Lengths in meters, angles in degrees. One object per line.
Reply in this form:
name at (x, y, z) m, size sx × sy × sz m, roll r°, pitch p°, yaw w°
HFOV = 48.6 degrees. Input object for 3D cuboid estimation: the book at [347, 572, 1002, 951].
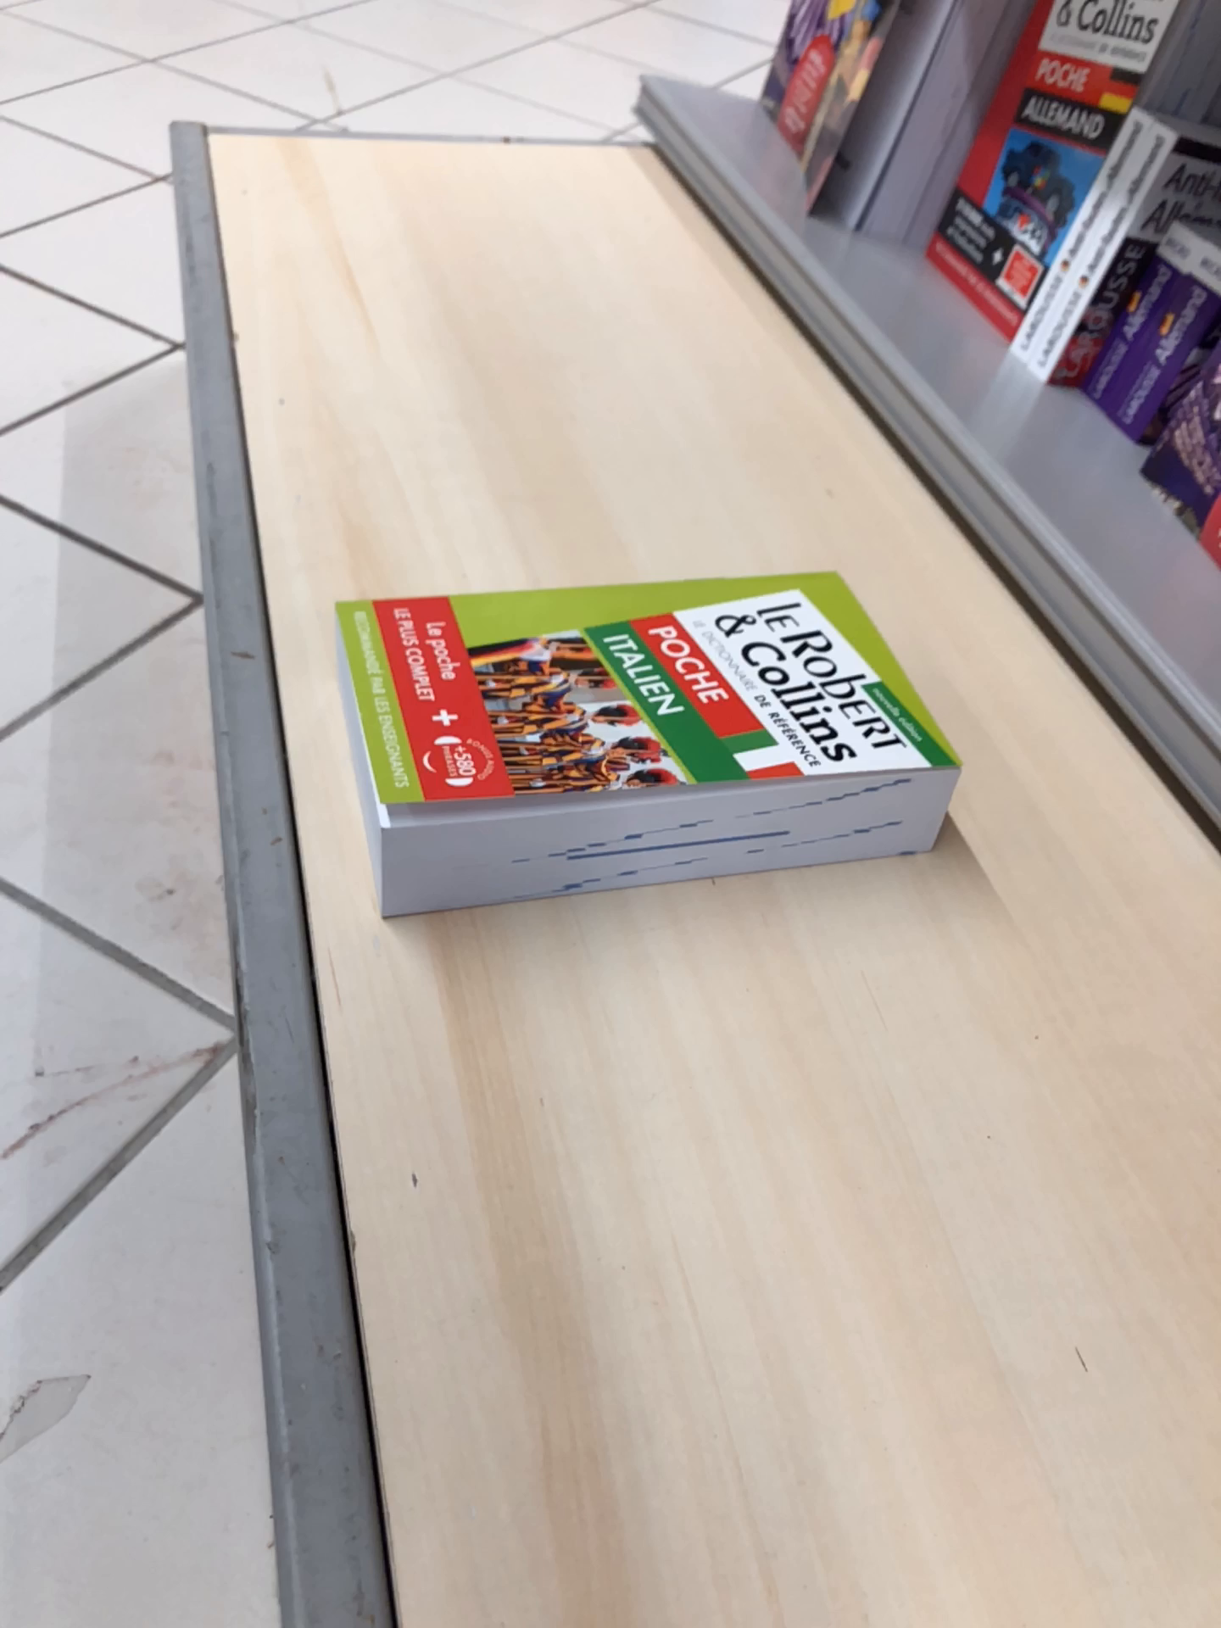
book at (0.013, -0.023, 0.420) m, size 0.175 × 0.040 × 0.110 m, roll -5°, pitch 46°, yaw -16°
